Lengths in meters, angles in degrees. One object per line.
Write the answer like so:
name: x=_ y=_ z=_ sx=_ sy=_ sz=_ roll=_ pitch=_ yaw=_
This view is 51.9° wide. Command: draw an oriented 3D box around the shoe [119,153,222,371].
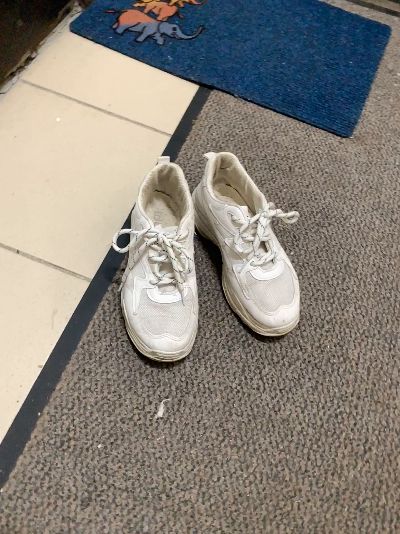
shoe: x=-0.042 y=-0.006 z=0.515 sx=0.100 sy=0.140 sz=0.230 roll=-1 pitch=61 yaw=-6

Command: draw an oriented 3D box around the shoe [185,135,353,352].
shoe: x=0.071 y=-0.031 z=0.542 sx=0.100 sy=0.140 sz=0.230 roll=-17 pitch=64 yaw=-14
